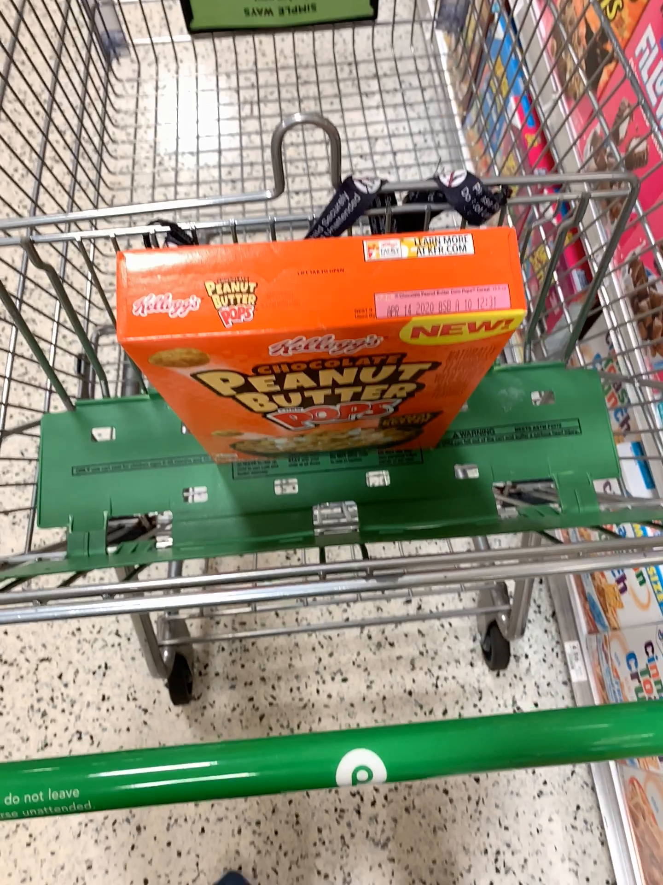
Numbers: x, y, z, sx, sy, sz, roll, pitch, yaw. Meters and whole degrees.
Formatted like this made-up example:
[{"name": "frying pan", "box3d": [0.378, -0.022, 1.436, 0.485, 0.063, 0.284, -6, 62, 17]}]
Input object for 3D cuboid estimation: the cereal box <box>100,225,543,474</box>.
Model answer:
[{"name": "cereal box", "box3d": [-0.007, -0.038, 0.454, 0.200, 0.289, 0.050, -5, 77, -2]}]
